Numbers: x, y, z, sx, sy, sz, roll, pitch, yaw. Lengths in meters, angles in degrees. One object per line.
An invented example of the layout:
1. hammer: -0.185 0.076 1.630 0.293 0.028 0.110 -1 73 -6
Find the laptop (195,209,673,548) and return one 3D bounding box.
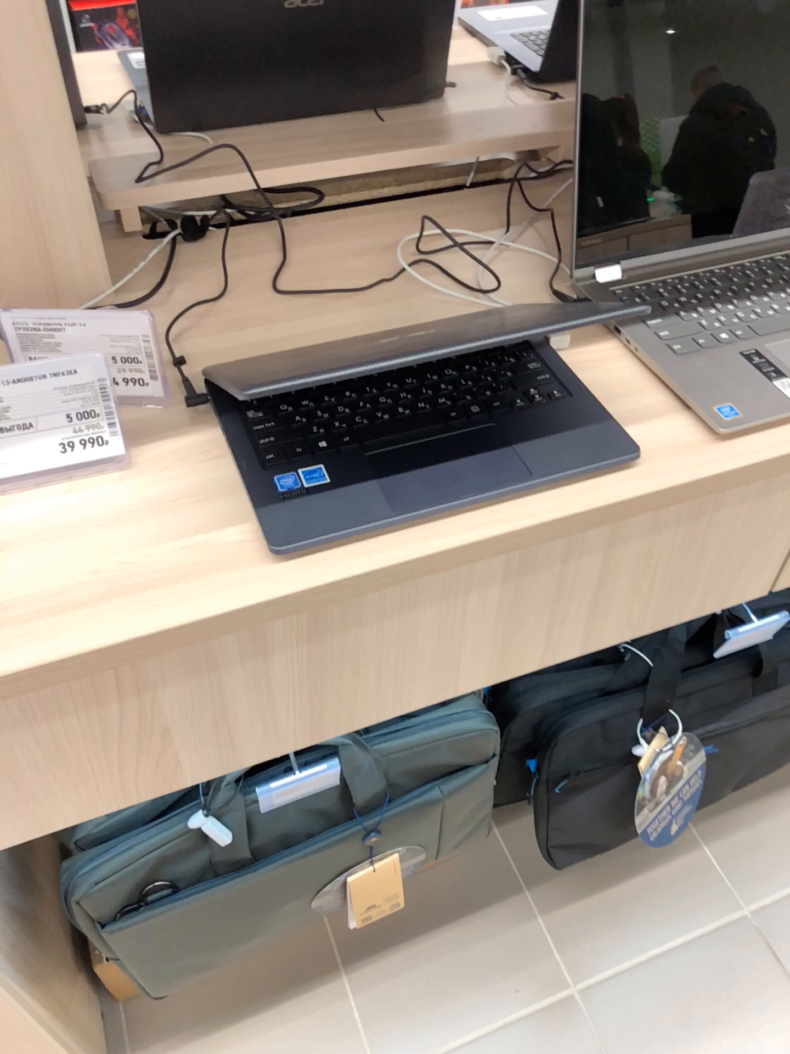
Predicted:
1. laptop: 0.019 -0.117 0.616 0.272 0.097 0.185 -15 48 -15
